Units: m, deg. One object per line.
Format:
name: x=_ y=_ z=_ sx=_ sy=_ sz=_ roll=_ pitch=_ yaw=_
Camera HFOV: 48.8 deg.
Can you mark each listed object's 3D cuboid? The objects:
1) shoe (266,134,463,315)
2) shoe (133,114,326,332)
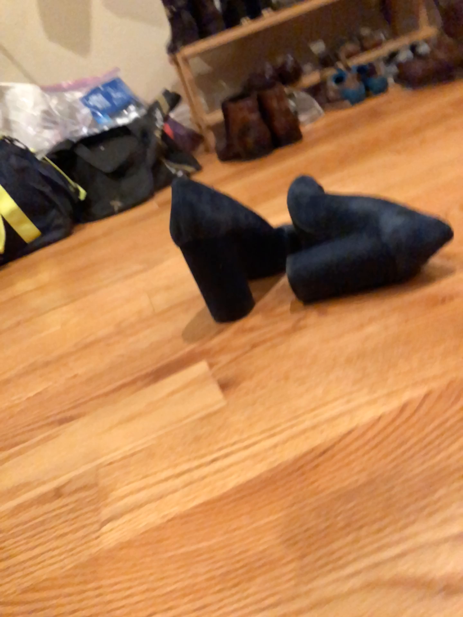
shoe: x=0.133 y=-0.093 z=0.514 sx=0.152 sy=0.080 sz=0.205 roll=-12 pitch=26 yaw=19
shoe: x=0.015 y=-0.101 z=0.554 sx=0.080 sy=0.146 sz=0.227 roll=-6 pitch=28 yaw=31
